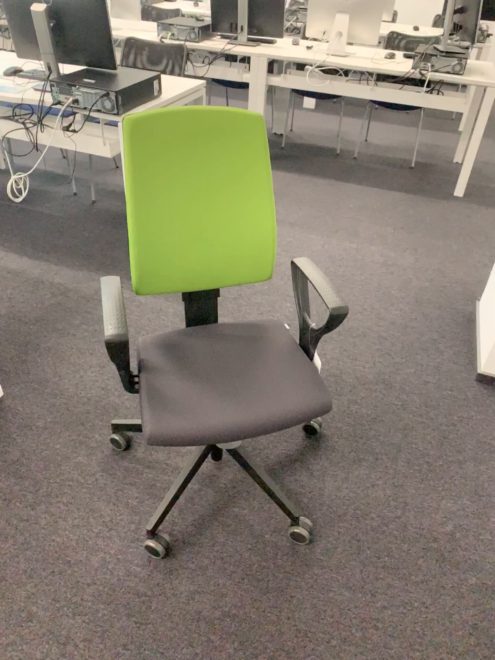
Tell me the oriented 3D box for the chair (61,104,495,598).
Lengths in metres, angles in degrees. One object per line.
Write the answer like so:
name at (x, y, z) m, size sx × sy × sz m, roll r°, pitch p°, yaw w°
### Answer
chair at (-0.029, 0.043, 1.378) m, size 0.721 × 1.054 × 0.673 m, roll -9°, pitch 39°, yaw -16°
